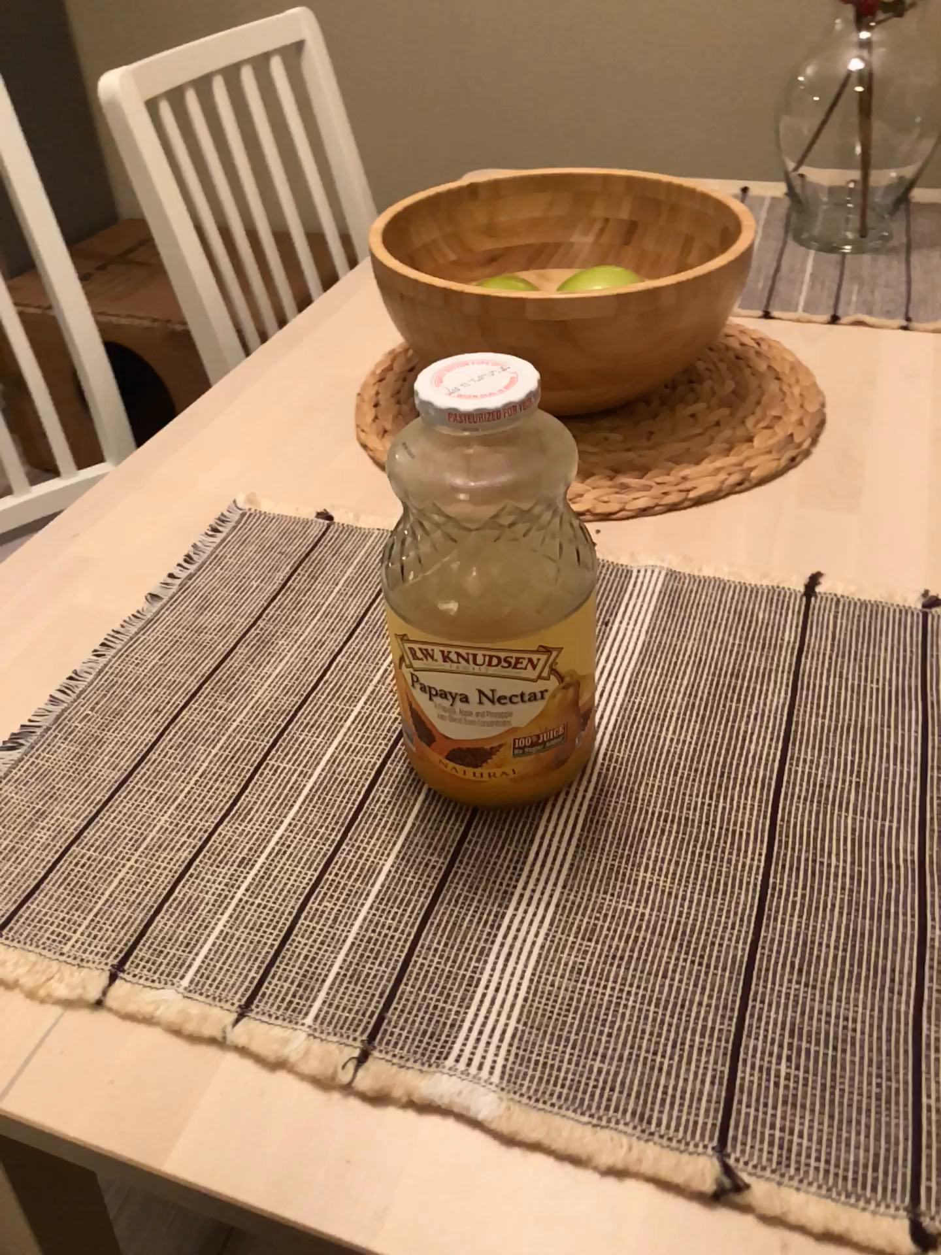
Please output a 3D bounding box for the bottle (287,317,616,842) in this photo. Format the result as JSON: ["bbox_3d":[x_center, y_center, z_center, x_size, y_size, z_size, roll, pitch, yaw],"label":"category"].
[{"bbox_3d":[0.001,-0.019,0.462,0.100,0.199,0.101,-2,38,2],"label":"bottle"}]
